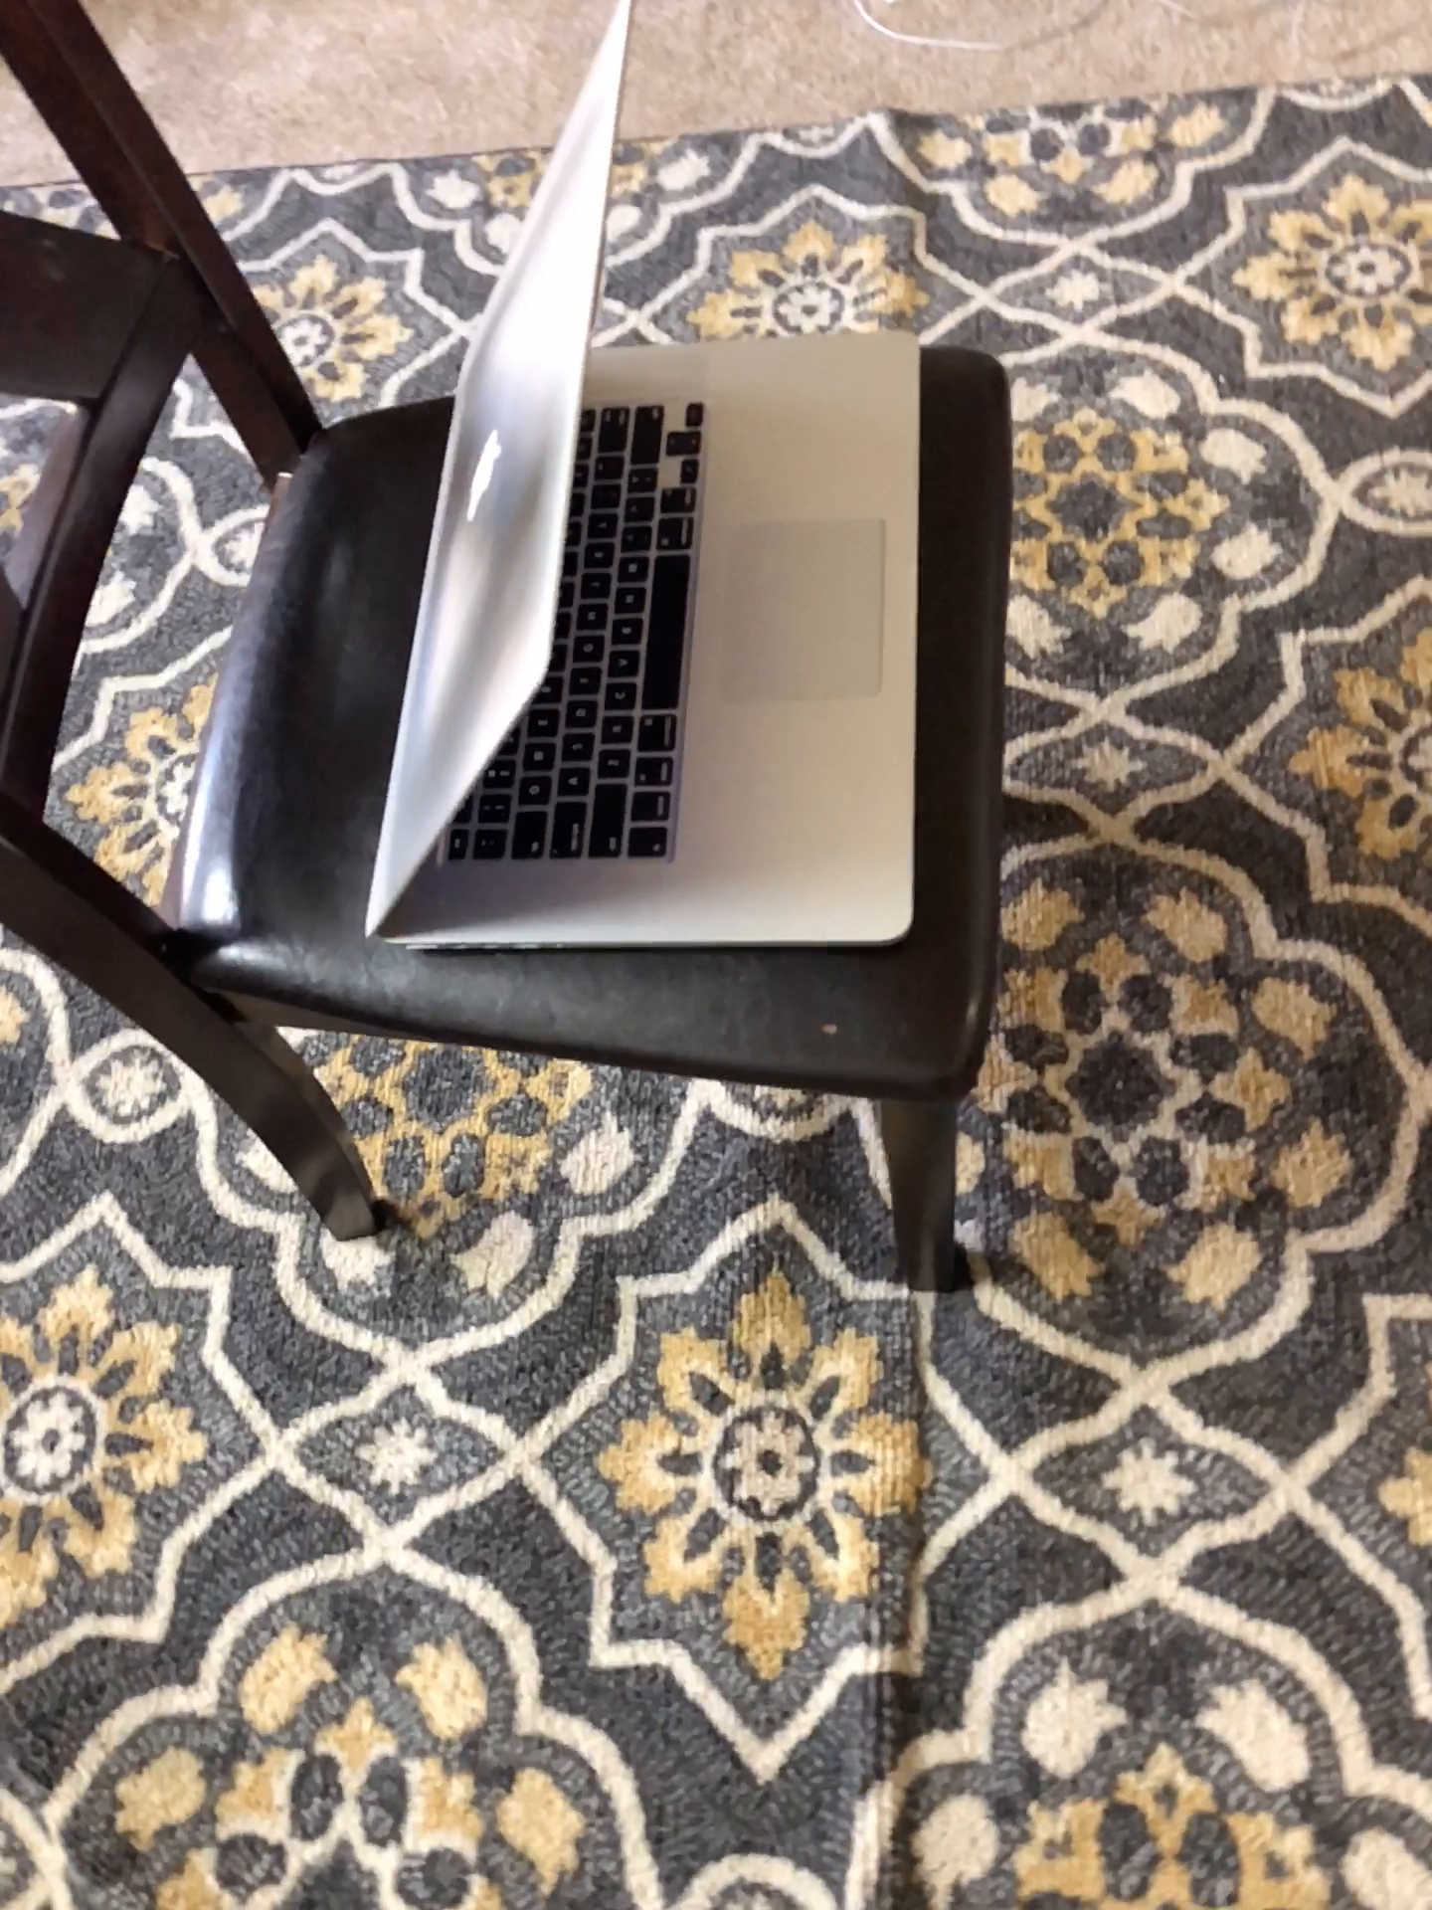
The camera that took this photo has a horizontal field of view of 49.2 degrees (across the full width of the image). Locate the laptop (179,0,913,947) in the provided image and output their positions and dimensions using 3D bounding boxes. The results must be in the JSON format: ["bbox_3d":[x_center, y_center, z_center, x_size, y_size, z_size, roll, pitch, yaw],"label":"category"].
[{"bbox_3d":[-0.040,-0.208,0.667,0.237,0.200,0.351,-1,64,9],"label":"laptop"}]
